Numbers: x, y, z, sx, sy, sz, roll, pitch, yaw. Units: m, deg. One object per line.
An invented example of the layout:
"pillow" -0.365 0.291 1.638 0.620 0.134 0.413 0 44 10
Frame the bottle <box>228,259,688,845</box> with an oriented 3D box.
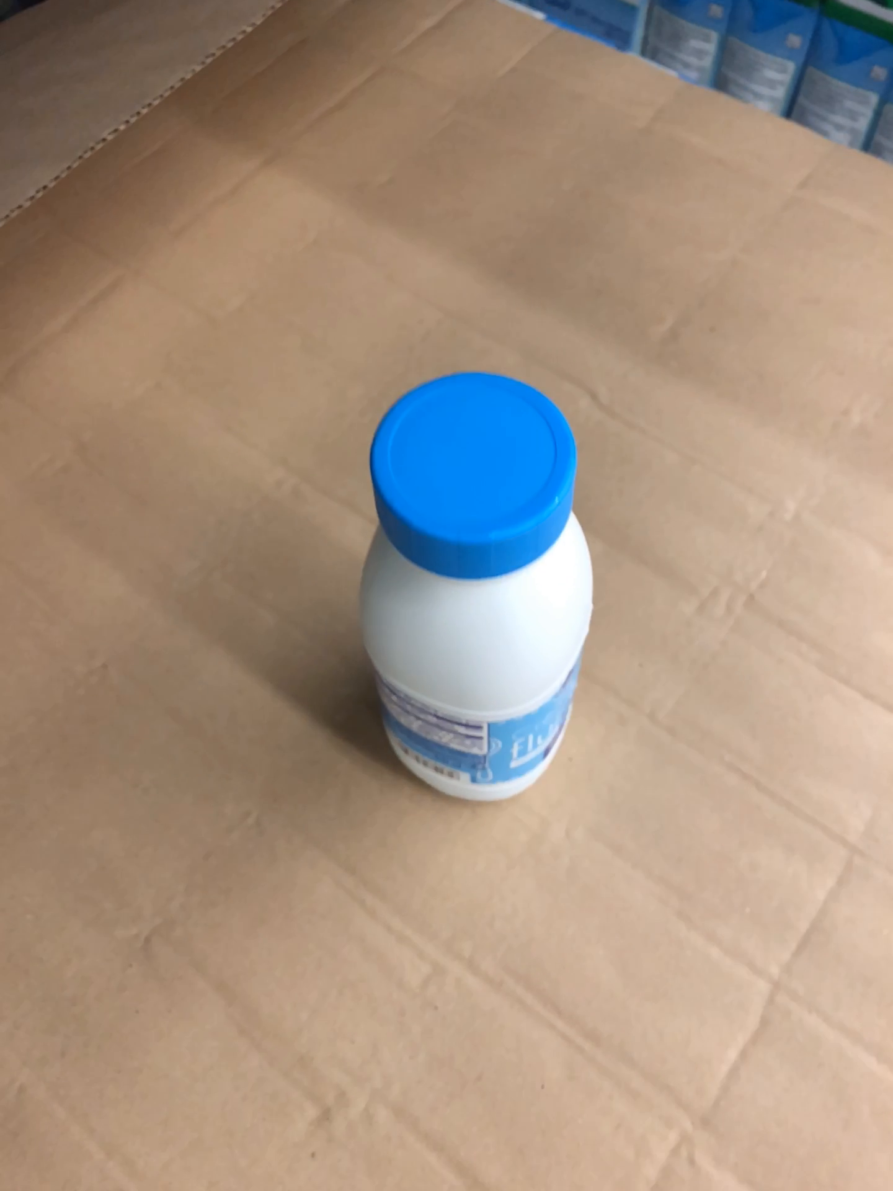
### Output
"bottle" 0.007 0.003 0.322 0.080 0.189 0.080 -1 63 2
